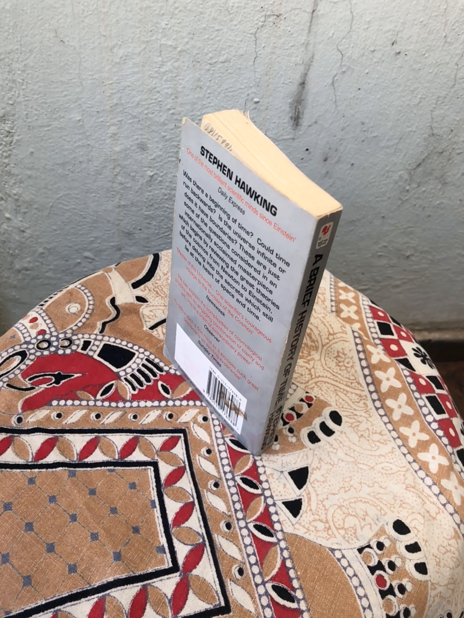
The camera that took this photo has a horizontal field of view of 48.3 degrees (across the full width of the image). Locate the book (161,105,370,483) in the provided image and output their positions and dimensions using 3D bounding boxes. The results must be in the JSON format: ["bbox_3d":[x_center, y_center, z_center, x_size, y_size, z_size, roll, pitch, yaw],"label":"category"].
[{"bbox_3d":[0.001,-0.005,0.294,0.030,0.169,0.130,-16,47,-25],"label":"book"}]
